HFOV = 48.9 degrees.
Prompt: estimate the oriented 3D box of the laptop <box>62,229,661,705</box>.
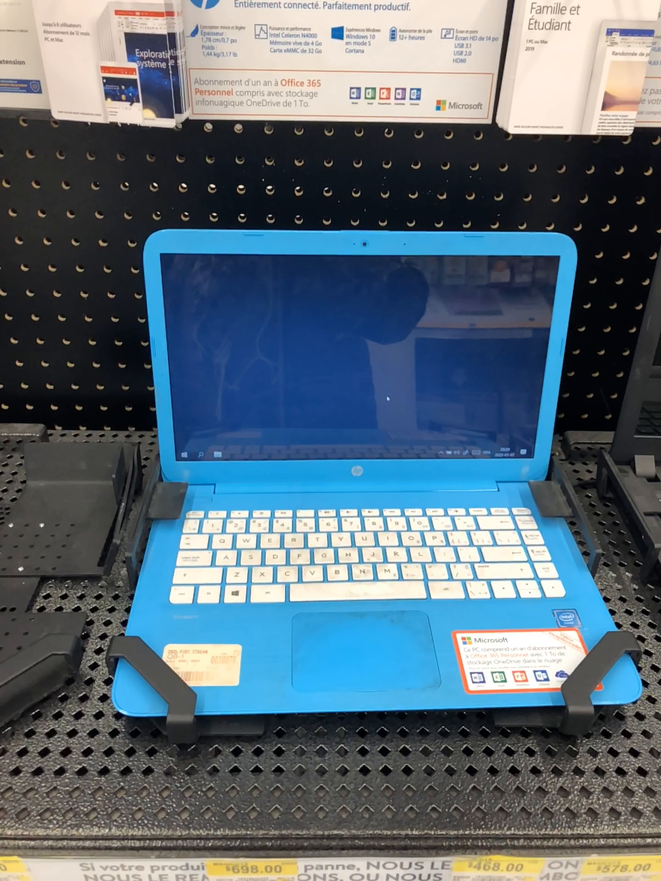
[{"bbox_3d":[0.027,0.000,0.501,0.318,0.197,0.270,0,35,-2],"label":"laptop"}]
